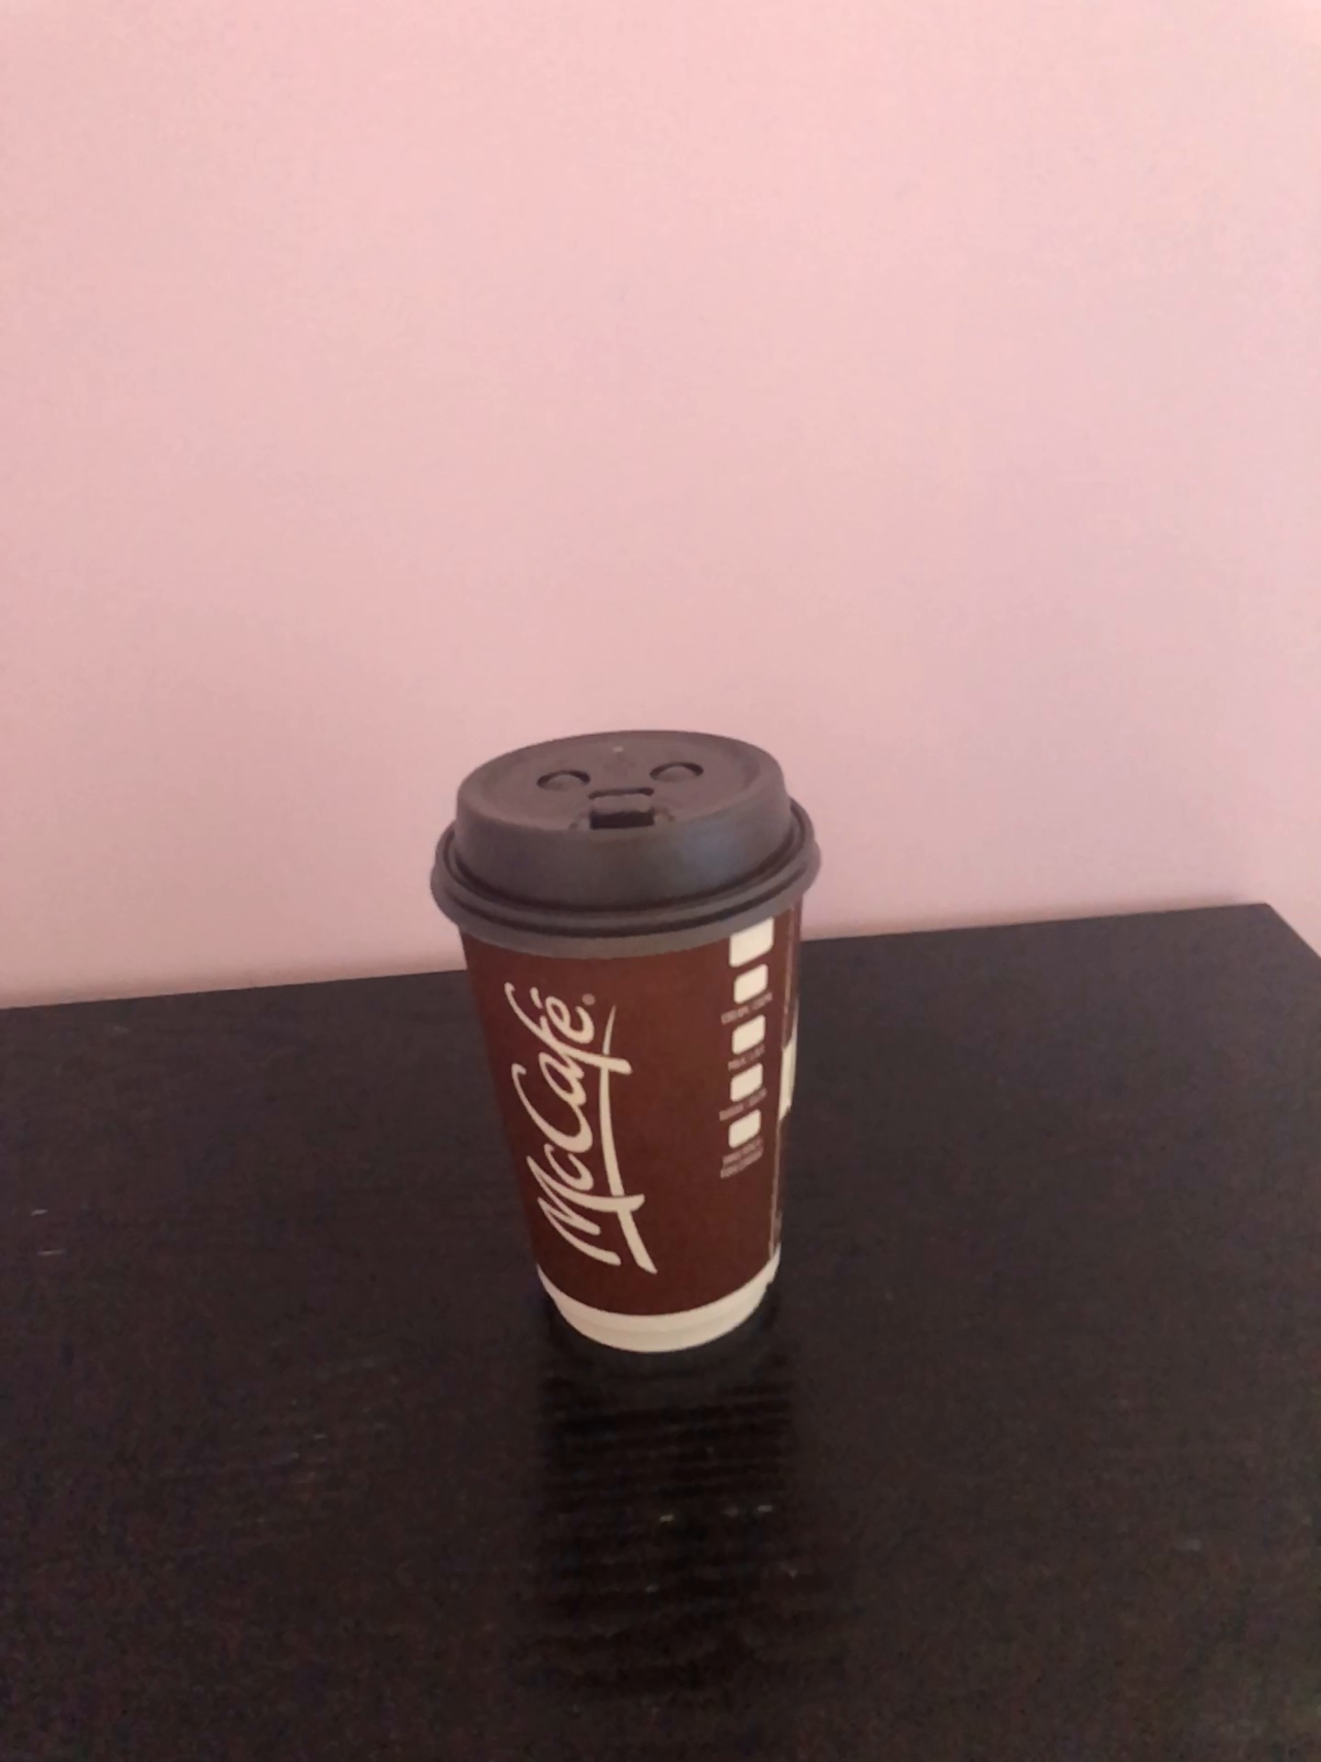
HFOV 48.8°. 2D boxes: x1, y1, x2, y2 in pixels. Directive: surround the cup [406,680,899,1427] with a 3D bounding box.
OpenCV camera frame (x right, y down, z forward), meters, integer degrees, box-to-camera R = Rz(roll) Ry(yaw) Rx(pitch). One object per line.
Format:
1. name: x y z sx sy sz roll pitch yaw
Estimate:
1. cup: -0.003 0.037 0.355 0.090 0.139 0.090 -3 25 1
